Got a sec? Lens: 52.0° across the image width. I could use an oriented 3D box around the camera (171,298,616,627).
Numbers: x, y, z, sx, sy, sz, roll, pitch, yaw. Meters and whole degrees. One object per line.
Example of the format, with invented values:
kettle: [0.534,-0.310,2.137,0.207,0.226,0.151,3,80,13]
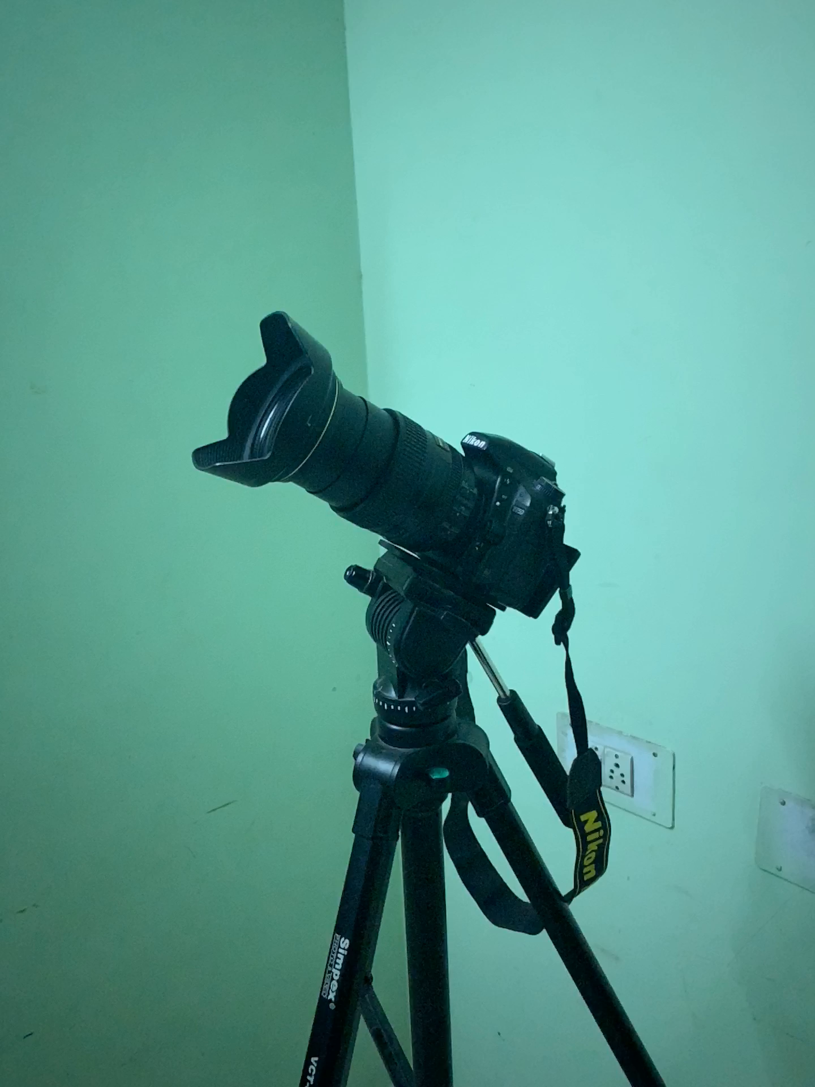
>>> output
camera: [-0.013,-0.056,0.588,0.248,0.120,0.152,23,2,-28]
